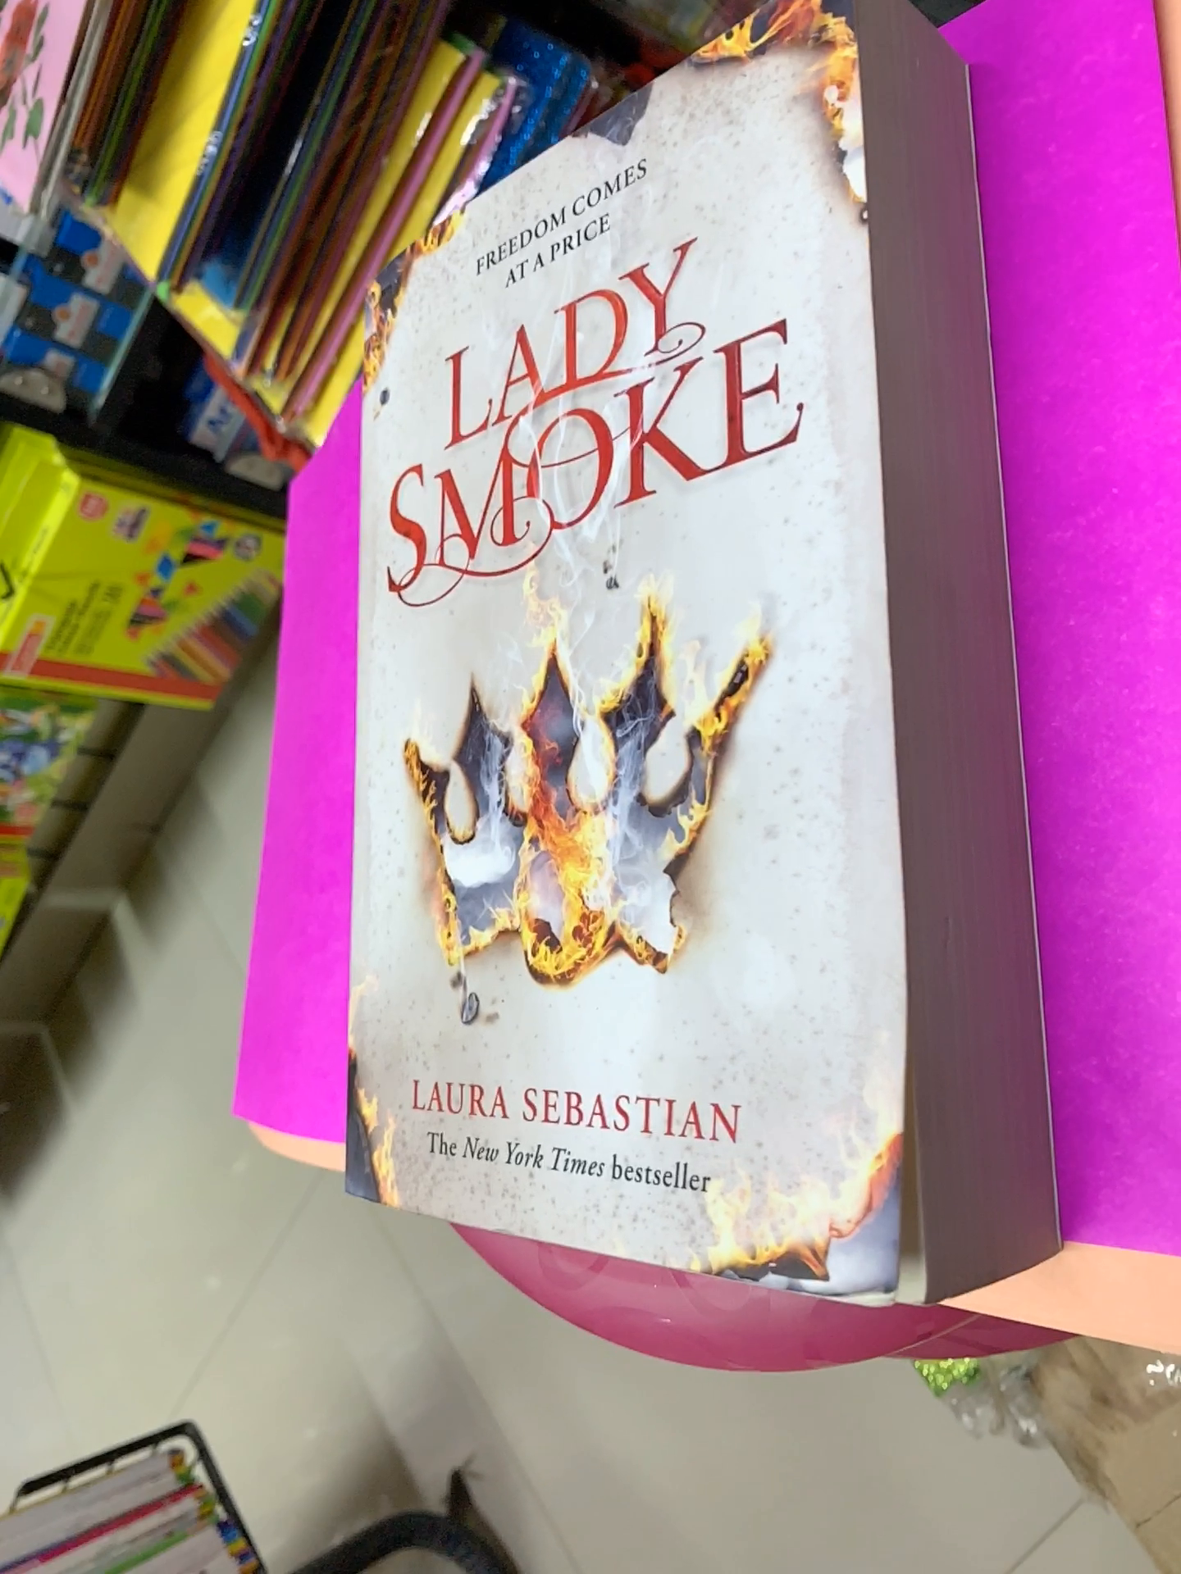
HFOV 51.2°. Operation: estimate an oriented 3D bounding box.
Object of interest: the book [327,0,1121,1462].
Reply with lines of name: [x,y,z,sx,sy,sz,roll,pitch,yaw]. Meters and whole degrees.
book: [0.013,-0.012,0.220,0.131,0.050,0.200,-6,83,42]
